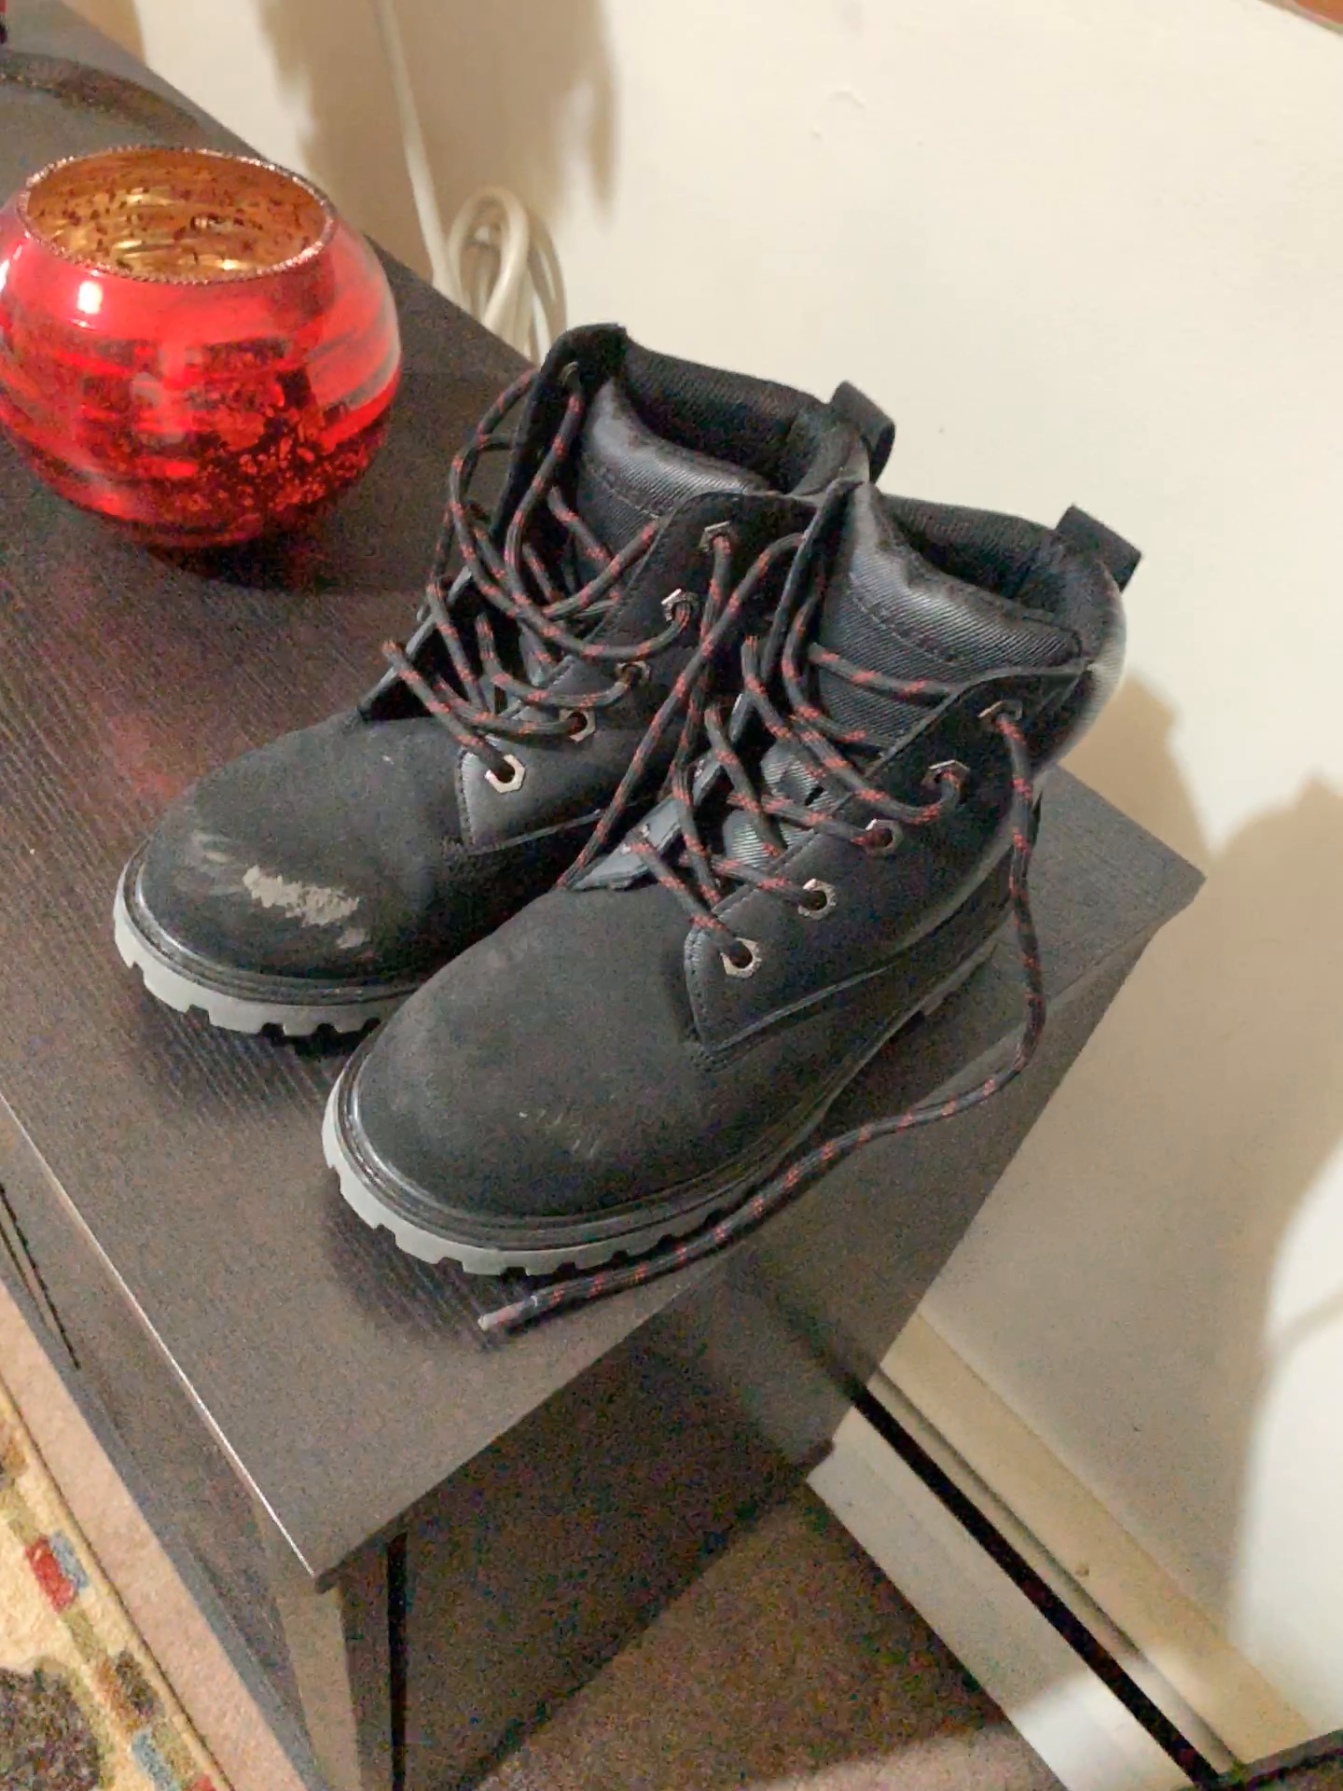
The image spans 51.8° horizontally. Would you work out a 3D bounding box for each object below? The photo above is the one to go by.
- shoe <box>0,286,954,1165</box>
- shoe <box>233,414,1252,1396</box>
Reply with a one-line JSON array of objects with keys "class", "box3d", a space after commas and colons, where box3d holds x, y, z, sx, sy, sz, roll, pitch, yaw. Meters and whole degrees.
[{"class": "shoe", "box3d": [-0.050, -0.056, 0.399, 0.221, 0.159, 0.100, -29, 60, -33]}, {"class": "shoe", "box3d": [0.018, -0.007, 0.371, 0.231, 0.159, 0.100, -29, 60, -33]}]
